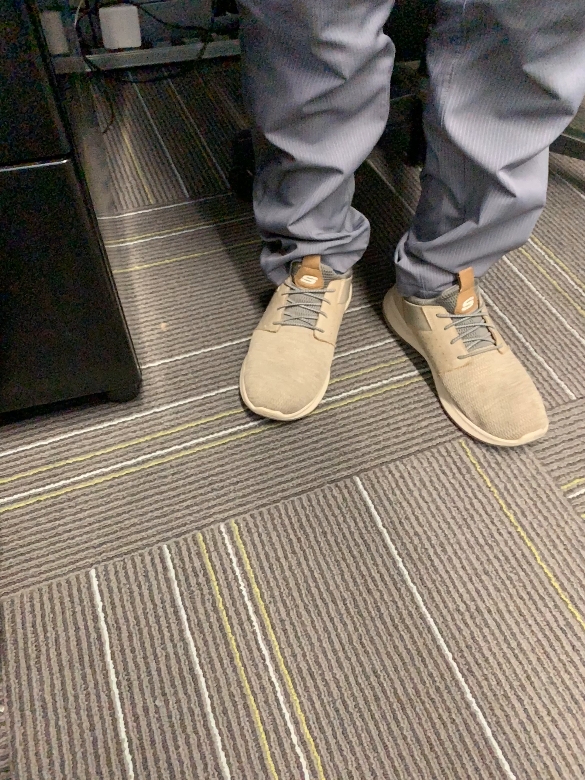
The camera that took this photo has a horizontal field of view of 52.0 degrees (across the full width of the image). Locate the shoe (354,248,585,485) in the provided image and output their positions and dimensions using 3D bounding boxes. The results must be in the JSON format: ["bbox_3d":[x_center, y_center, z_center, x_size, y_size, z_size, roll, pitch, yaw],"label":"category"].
[{"bbox_3d":[0.215,-0.044,0.786,0.126,0.098,0.303,-20,54,-16],"label":"shoe"}]

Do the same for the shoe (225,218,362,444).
[{"bbox_3d":[0.011,-0.089,0.785,0.107,0.098,0.303,10,51,8],"label":"shoe"}]
